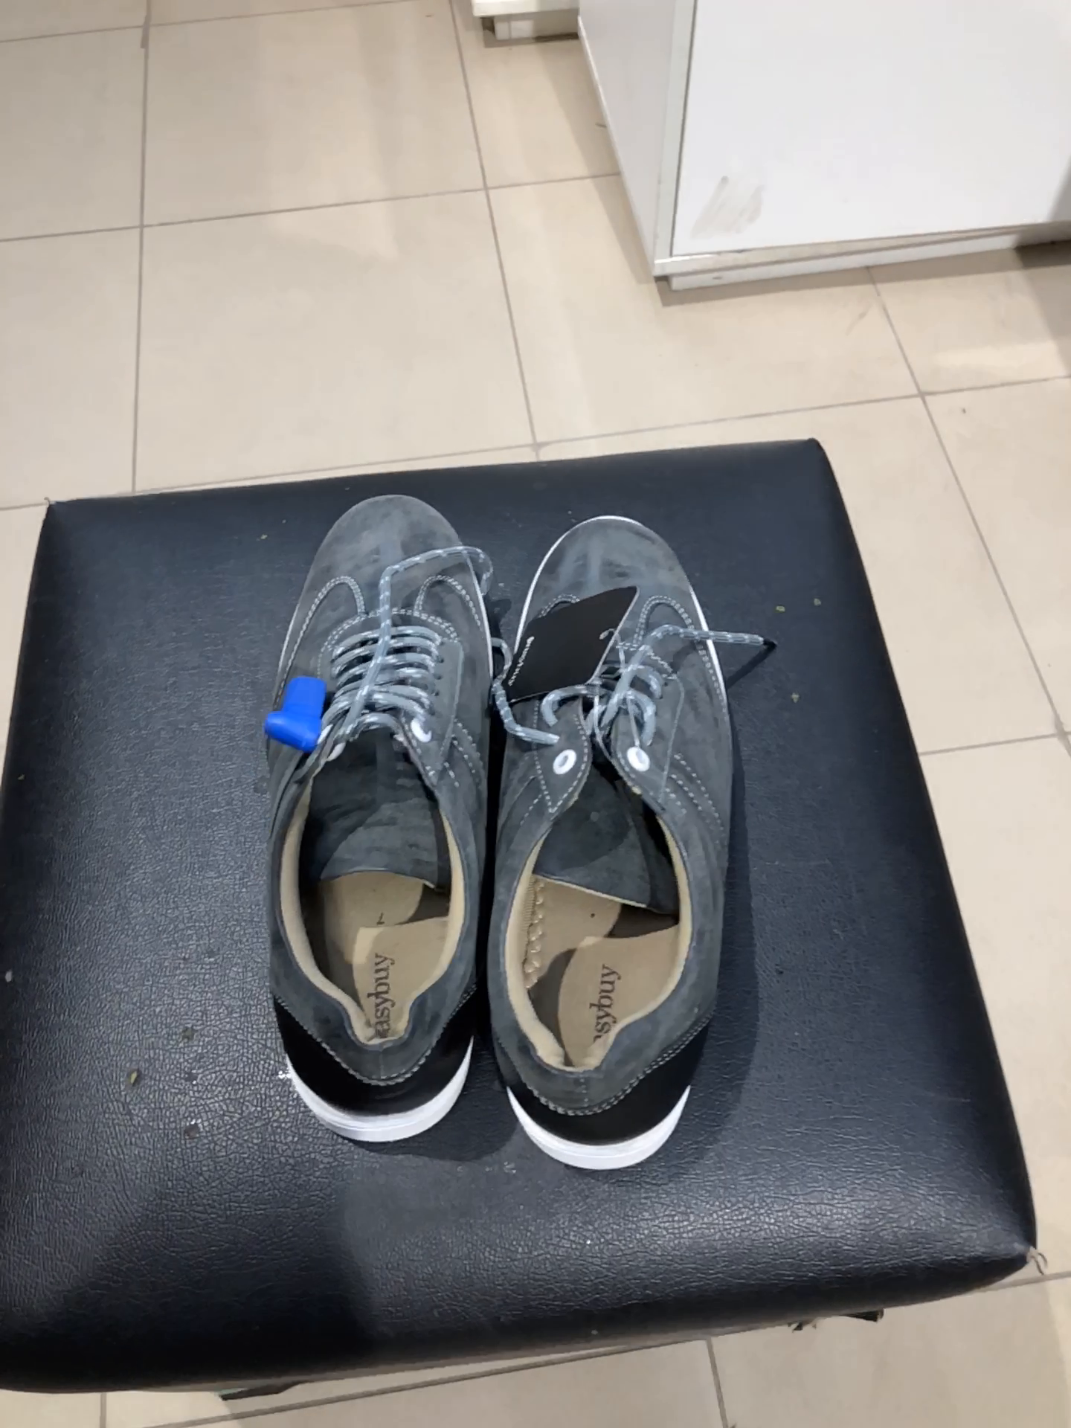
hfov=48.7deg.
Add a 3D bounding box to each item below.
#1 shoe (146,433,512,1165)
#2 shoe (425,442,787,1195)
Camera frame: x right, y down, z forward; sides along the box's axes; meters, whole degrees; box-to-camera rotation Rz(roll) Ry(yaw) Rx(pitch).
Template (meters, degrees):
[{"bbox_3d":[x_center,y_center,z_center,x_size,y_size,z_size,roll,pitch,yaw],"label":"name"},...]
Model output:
[{"bbox_3d":[-0.065,0.027,0.445,0.100,0.107,0.249,-2,60,0],"label":"shoe"},{"bbox_3d":[0.030,0.033,0.436,0.100,0.107,0.249,3,60,3],"label":"shoe"}]
